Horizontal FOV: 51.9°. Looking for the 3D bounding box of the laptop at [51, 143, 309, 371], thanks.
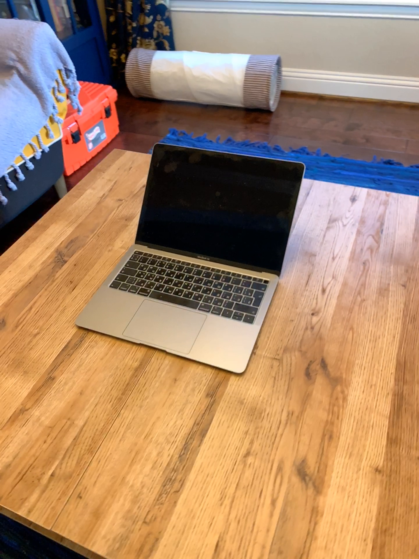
[{"bbox_3d":[-0.024,-0.067,0.742,0.291,0.141,0.354,14,49,19],"label":"laptop"}]
